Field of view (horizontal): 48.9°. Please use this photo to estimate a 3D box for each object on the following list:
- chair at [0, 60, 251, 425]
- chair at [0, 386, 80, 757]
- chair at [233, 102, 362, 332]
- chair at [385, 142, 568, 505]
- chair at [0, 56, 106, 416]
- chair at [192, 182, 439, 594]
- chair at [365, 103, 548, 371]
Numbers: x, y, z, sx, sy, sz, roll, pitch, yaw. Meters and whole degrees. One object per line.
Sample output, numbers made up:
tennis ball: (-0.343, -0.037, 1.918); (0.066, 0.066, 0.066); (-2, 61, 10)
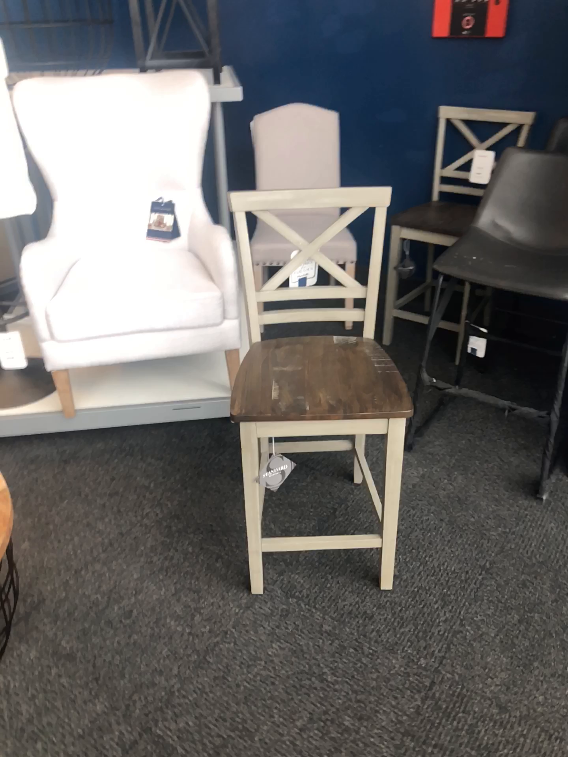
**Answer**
chair: (-0.542, -0.504, 2.184); (0.690, 1.014, 0.708); (-8, 32, -10)
chair: (-0.839, 0.470, 1.408); (0.520, 0.537, 0.687); (-15, 34, -21)
chair: (0.067, -0.779, 3.000); (0.519, 0.925, 0.587); (-1, 31, 1)
chair: (0.710, -0.199, 2.007); (0.540, 0.935, 0.537); (16, 36, 27)
chair: (-0.814, -0.426, 1.870); (0.379, 0.915, 0.487); (-8, 32, -10)
chair: (0.069, 0.029, 1.652); (0.469, 0.935, 0.537); (-2, 31, 0)
chair: (0.709, -0.617, 2.662); (0.470, 0.935, 0.536); (21, 38, 33)
